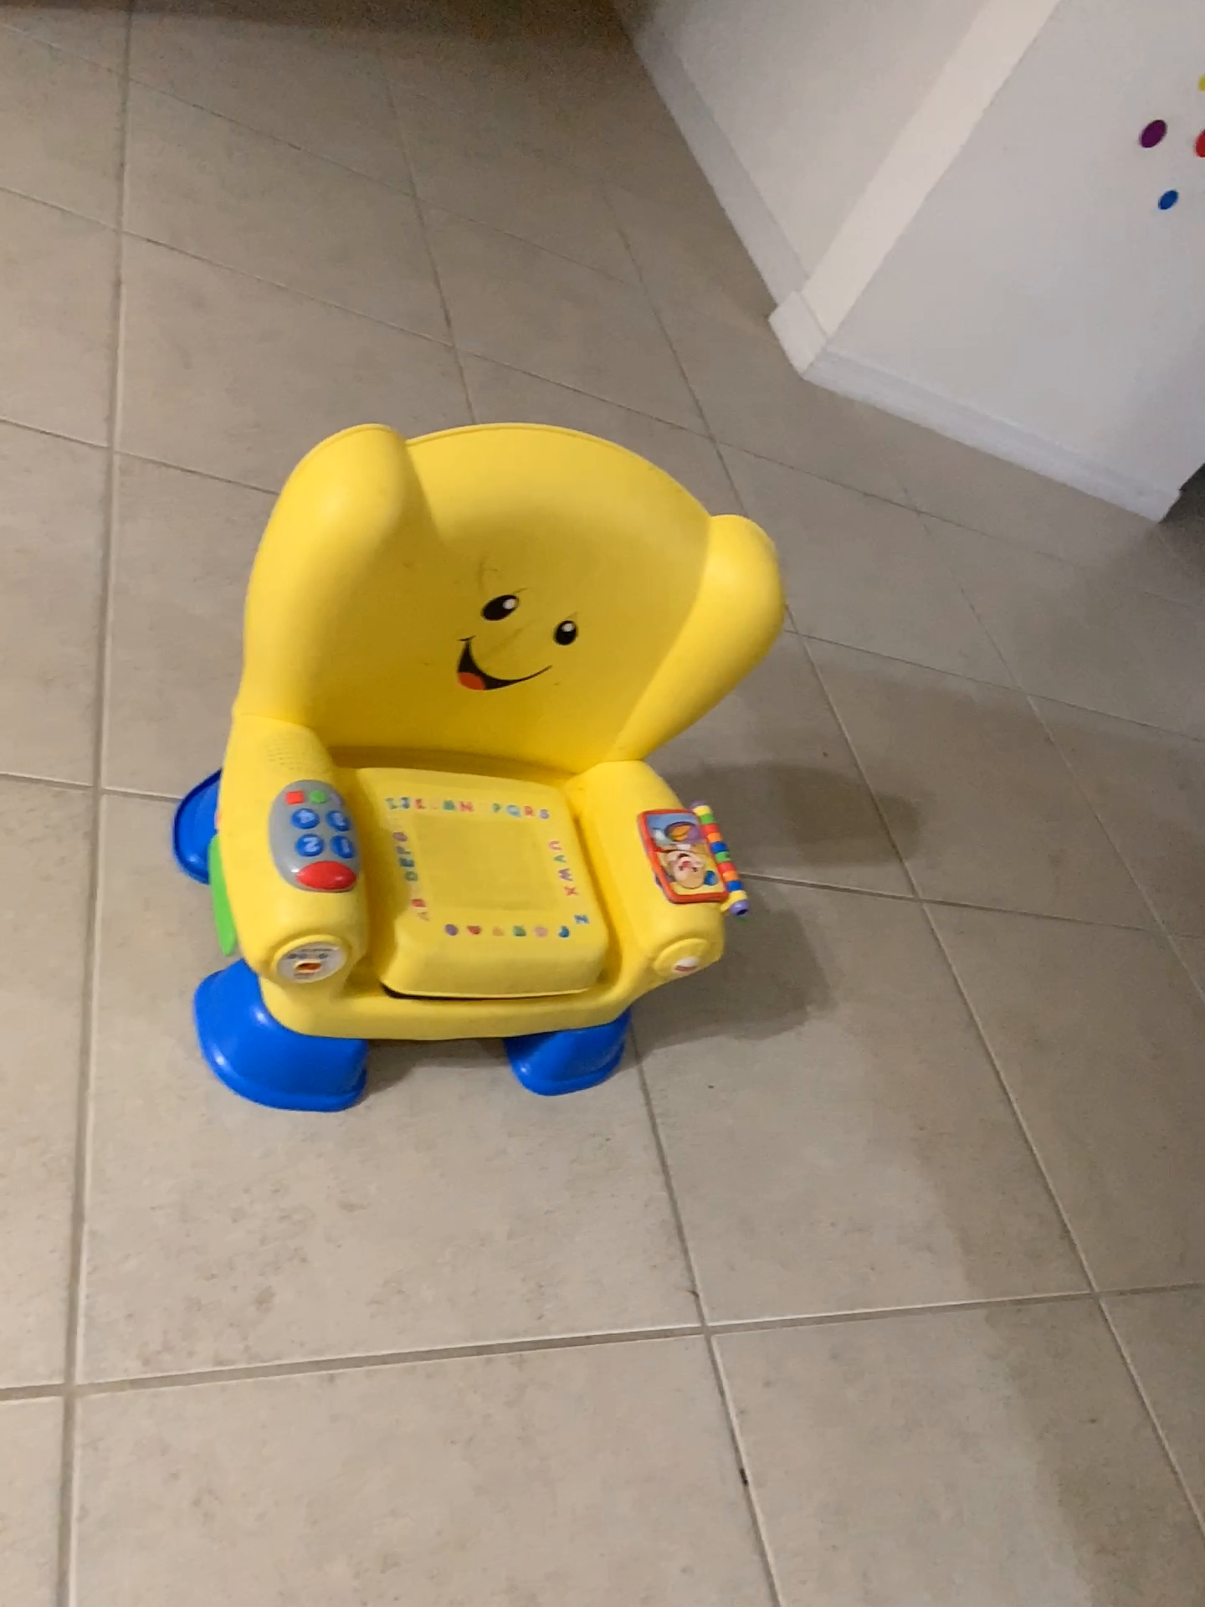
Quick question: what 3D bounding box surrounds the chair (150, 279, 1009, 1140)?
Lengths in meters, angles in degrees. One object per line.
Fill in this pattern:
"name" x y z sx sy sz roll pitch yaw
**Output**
"chair" -0.069 -0.029 0.967 0.421 0.485 0.372 7 48 -32
